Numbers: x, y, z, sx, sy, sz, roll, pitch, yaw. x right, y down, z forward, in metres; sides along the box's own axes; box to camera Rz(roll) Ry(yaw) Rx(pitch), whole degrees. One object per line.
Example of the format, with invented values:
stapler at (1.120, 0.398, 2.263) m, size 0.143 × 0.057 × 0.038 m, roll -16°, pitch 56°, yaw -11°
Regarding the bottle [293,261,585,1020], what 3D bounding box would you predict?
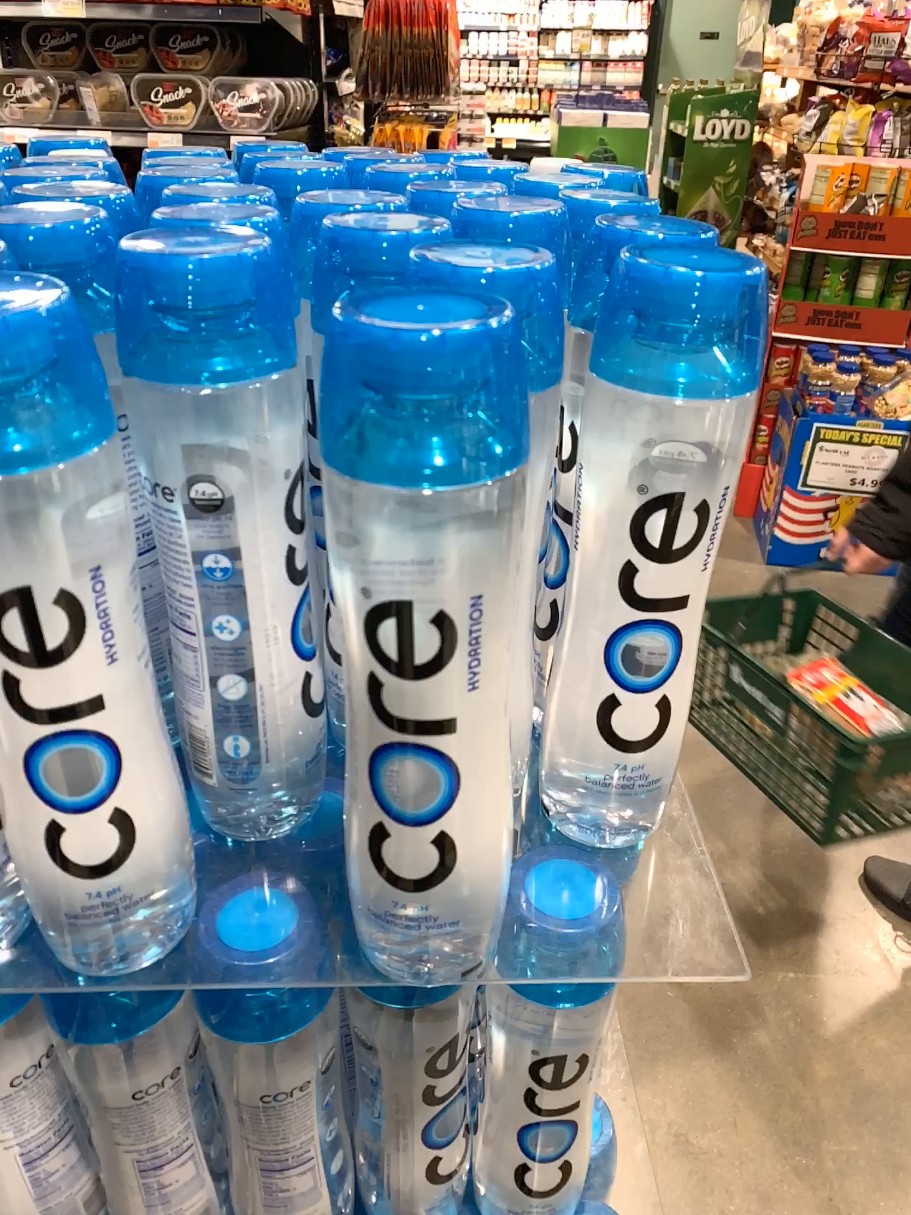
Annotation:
bottle at (-0.004, 0.026, 0.364) m, size 0.080 × 0.288 × 0.091 m, roll 4°, pitch 31°, yaw 5°
